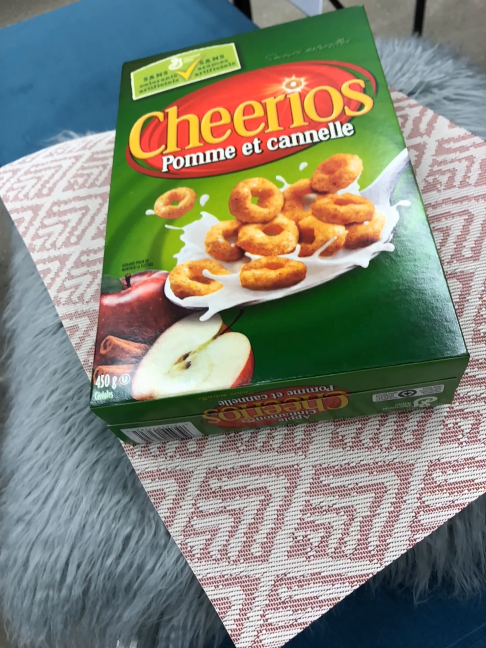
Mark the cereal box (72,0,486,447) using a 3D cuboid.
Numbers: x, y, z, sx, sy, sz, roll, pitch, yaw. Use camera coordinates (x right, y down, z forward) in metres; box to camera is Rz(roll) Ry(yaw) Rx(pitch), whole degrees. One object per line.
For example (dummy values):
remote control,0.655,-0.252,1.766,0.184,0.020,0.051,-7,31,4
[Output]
cereal box,0.014,-0.091,0.364,0.210,0.070,0.311,-7,61,5
